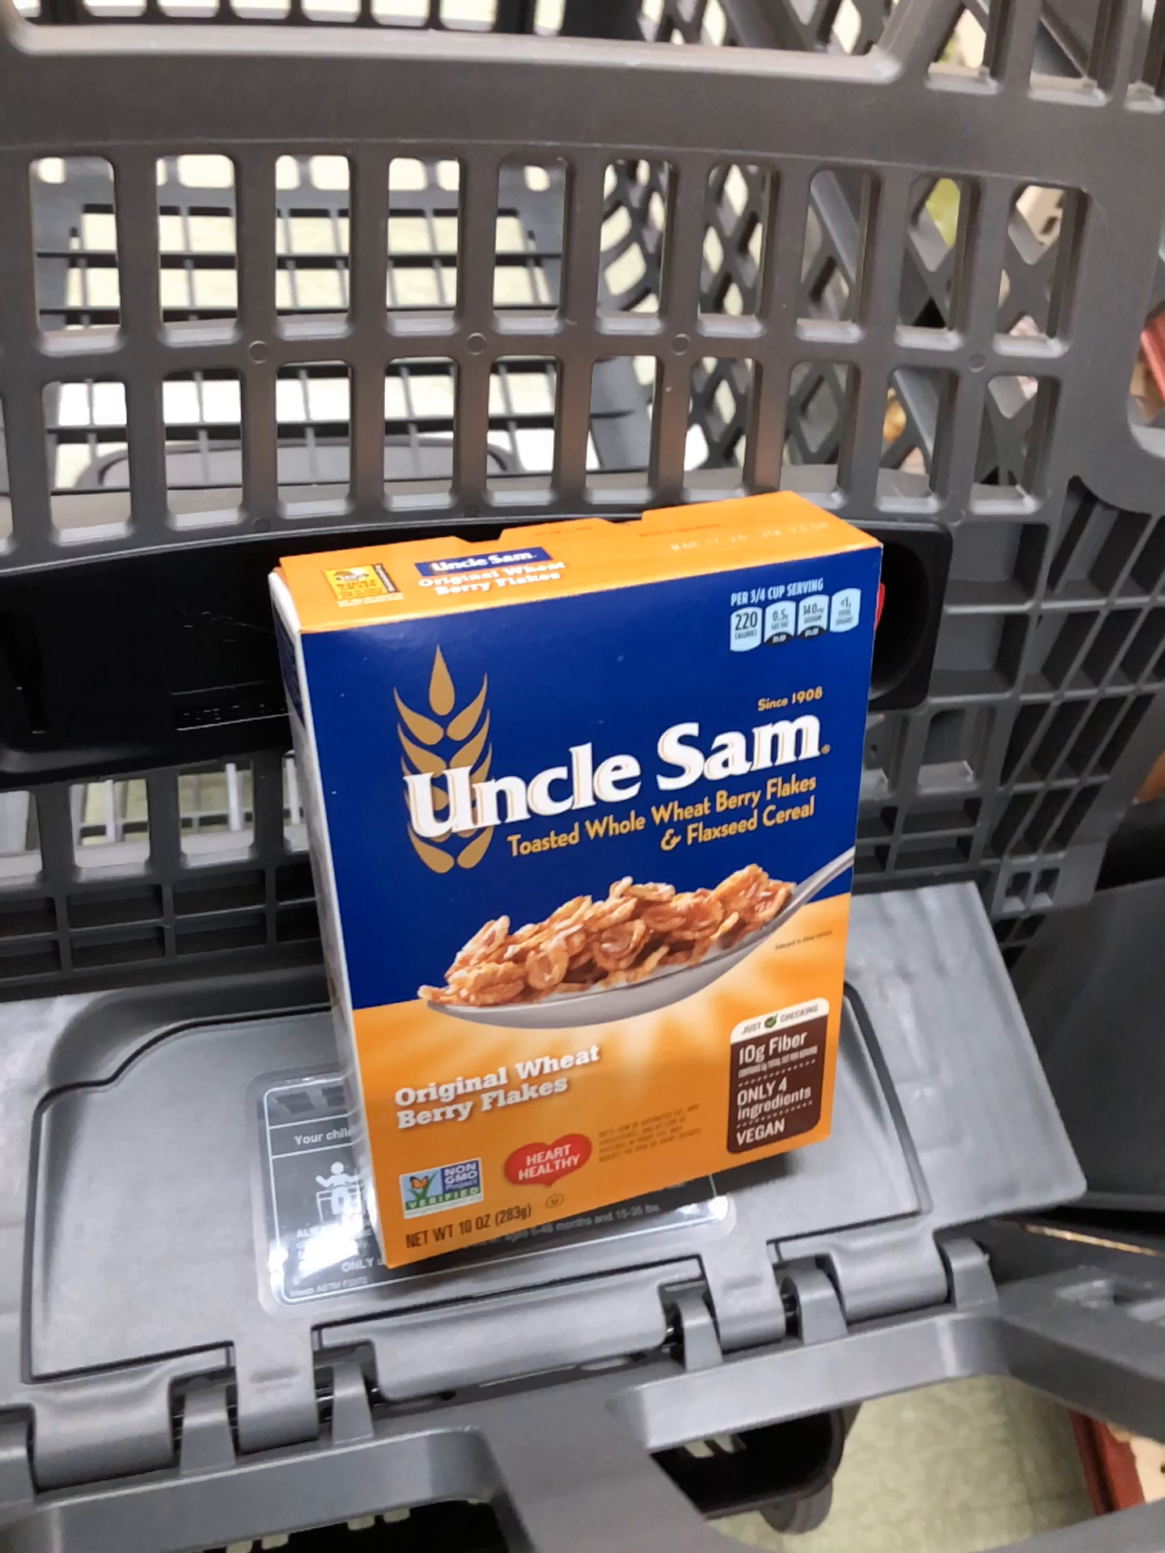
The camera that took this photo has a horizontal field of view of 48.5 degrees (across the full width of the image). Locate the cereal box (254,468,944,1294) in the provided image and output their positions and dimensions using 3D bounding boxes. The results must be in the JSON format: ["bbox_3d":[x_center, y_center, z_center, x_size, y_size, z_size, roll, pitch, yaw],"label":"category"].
[{"bbox_3d":[0.007,0.032,0.365,0.160,0.210,0.050,-11,30,-16],"label":"cereal box"}]
